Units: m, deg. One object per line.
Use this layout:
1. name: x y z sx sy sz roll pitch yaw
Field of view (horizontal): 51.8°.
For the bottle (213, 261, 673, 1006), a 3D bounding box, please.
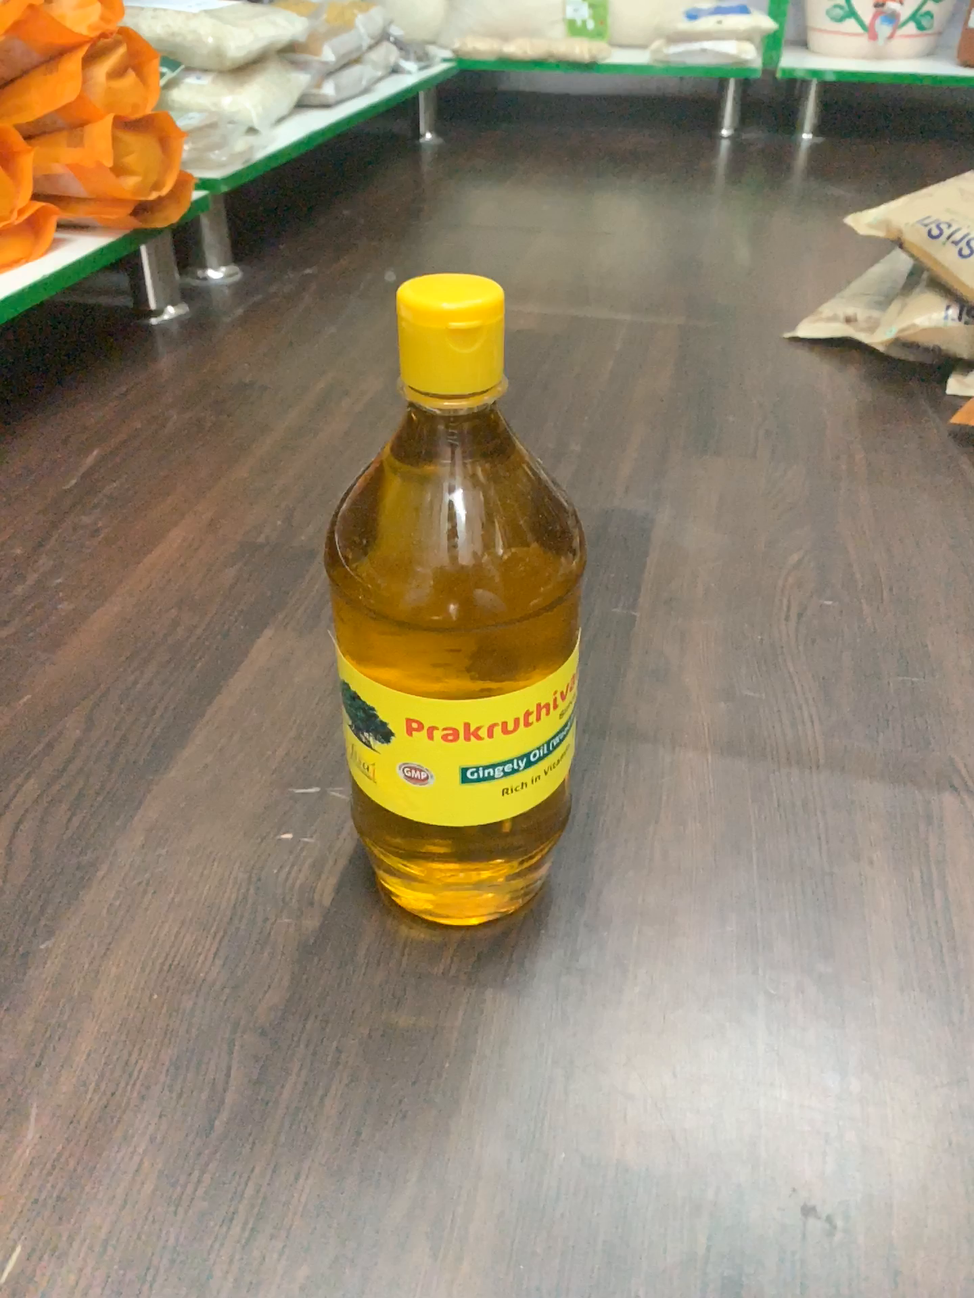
1. bottle: -0.010 0.000 0.340 0.090 0.219 0.090 0 36 0
